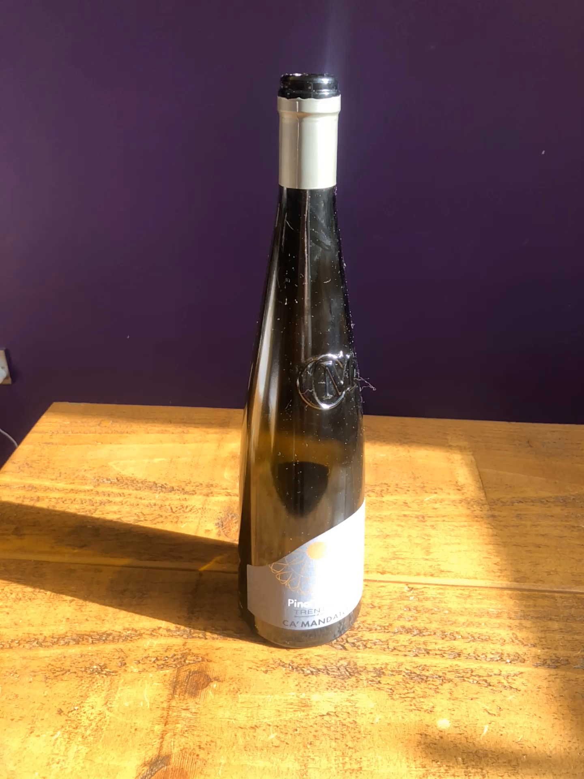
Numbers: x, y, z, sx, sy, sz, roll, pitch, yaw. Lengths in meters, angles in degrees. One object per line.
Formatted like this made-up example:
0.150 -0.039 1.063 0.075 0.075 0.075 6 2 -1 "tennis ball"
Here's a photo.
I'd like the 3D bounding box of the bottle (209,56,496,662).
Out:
0.023 -0.008 0.387 0.100 0.337 0.101 0 28 0 "bottle"
